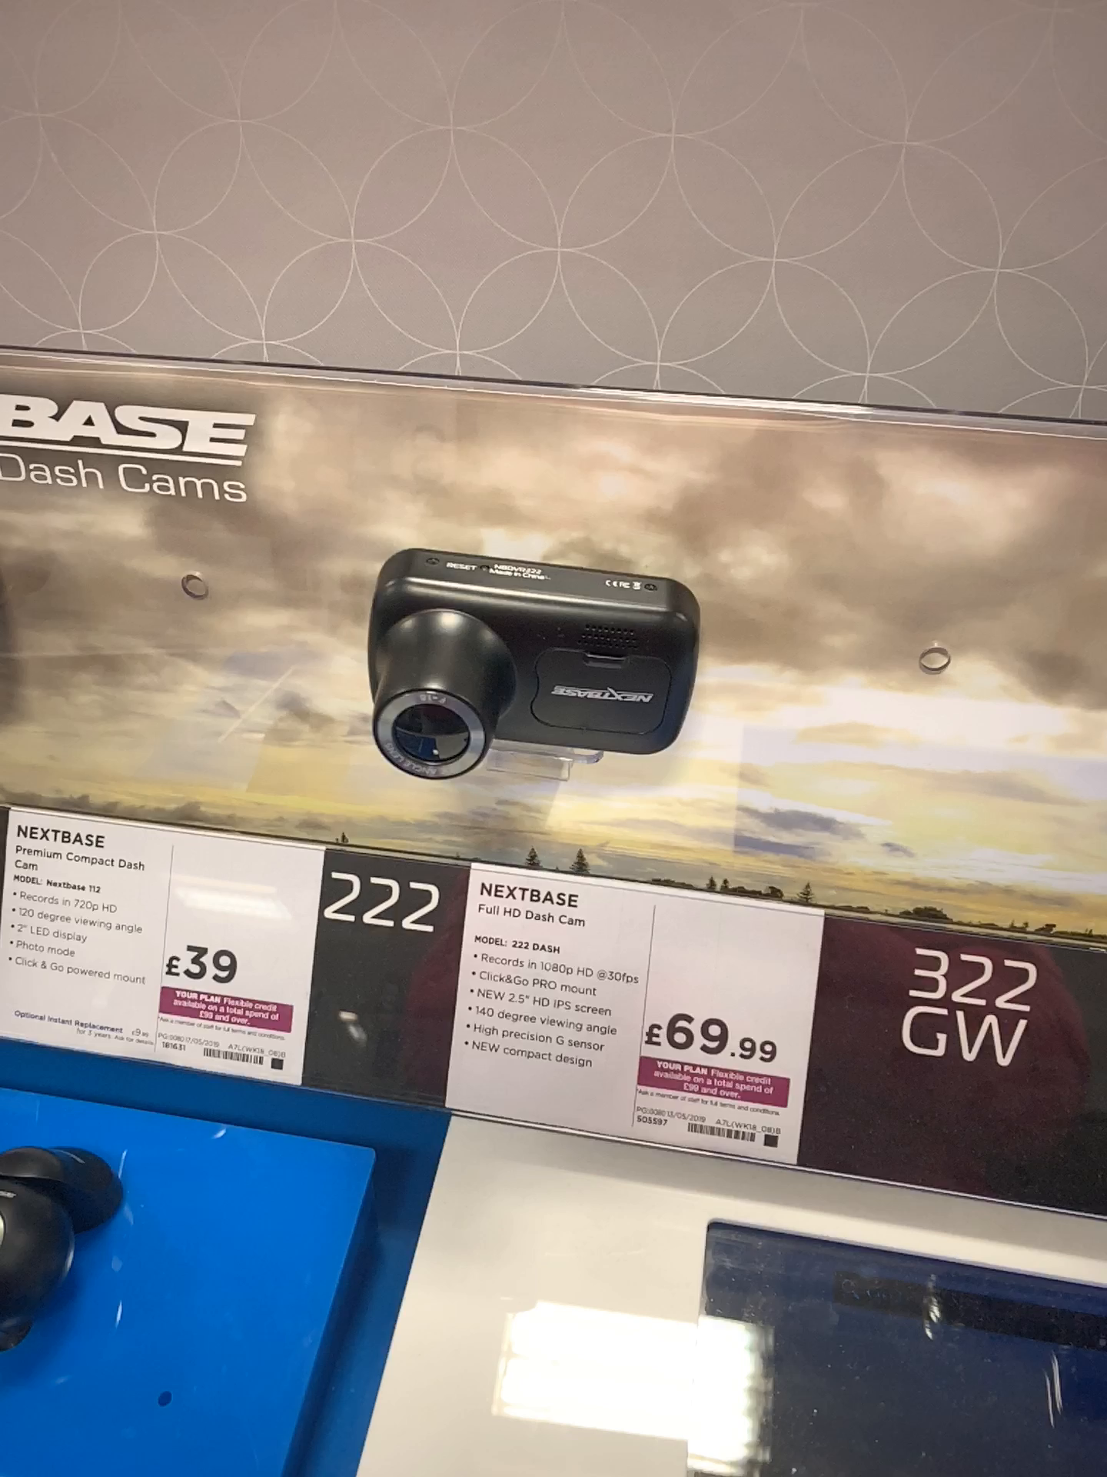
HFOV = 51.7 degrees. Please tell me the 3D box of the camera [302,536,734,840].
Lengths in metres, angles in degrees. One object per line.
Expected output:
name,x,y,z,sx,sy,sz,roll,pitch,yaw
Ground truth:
camera,-0.006,-0.014,0.270,0.090,0.040,0.050,7,37,6
